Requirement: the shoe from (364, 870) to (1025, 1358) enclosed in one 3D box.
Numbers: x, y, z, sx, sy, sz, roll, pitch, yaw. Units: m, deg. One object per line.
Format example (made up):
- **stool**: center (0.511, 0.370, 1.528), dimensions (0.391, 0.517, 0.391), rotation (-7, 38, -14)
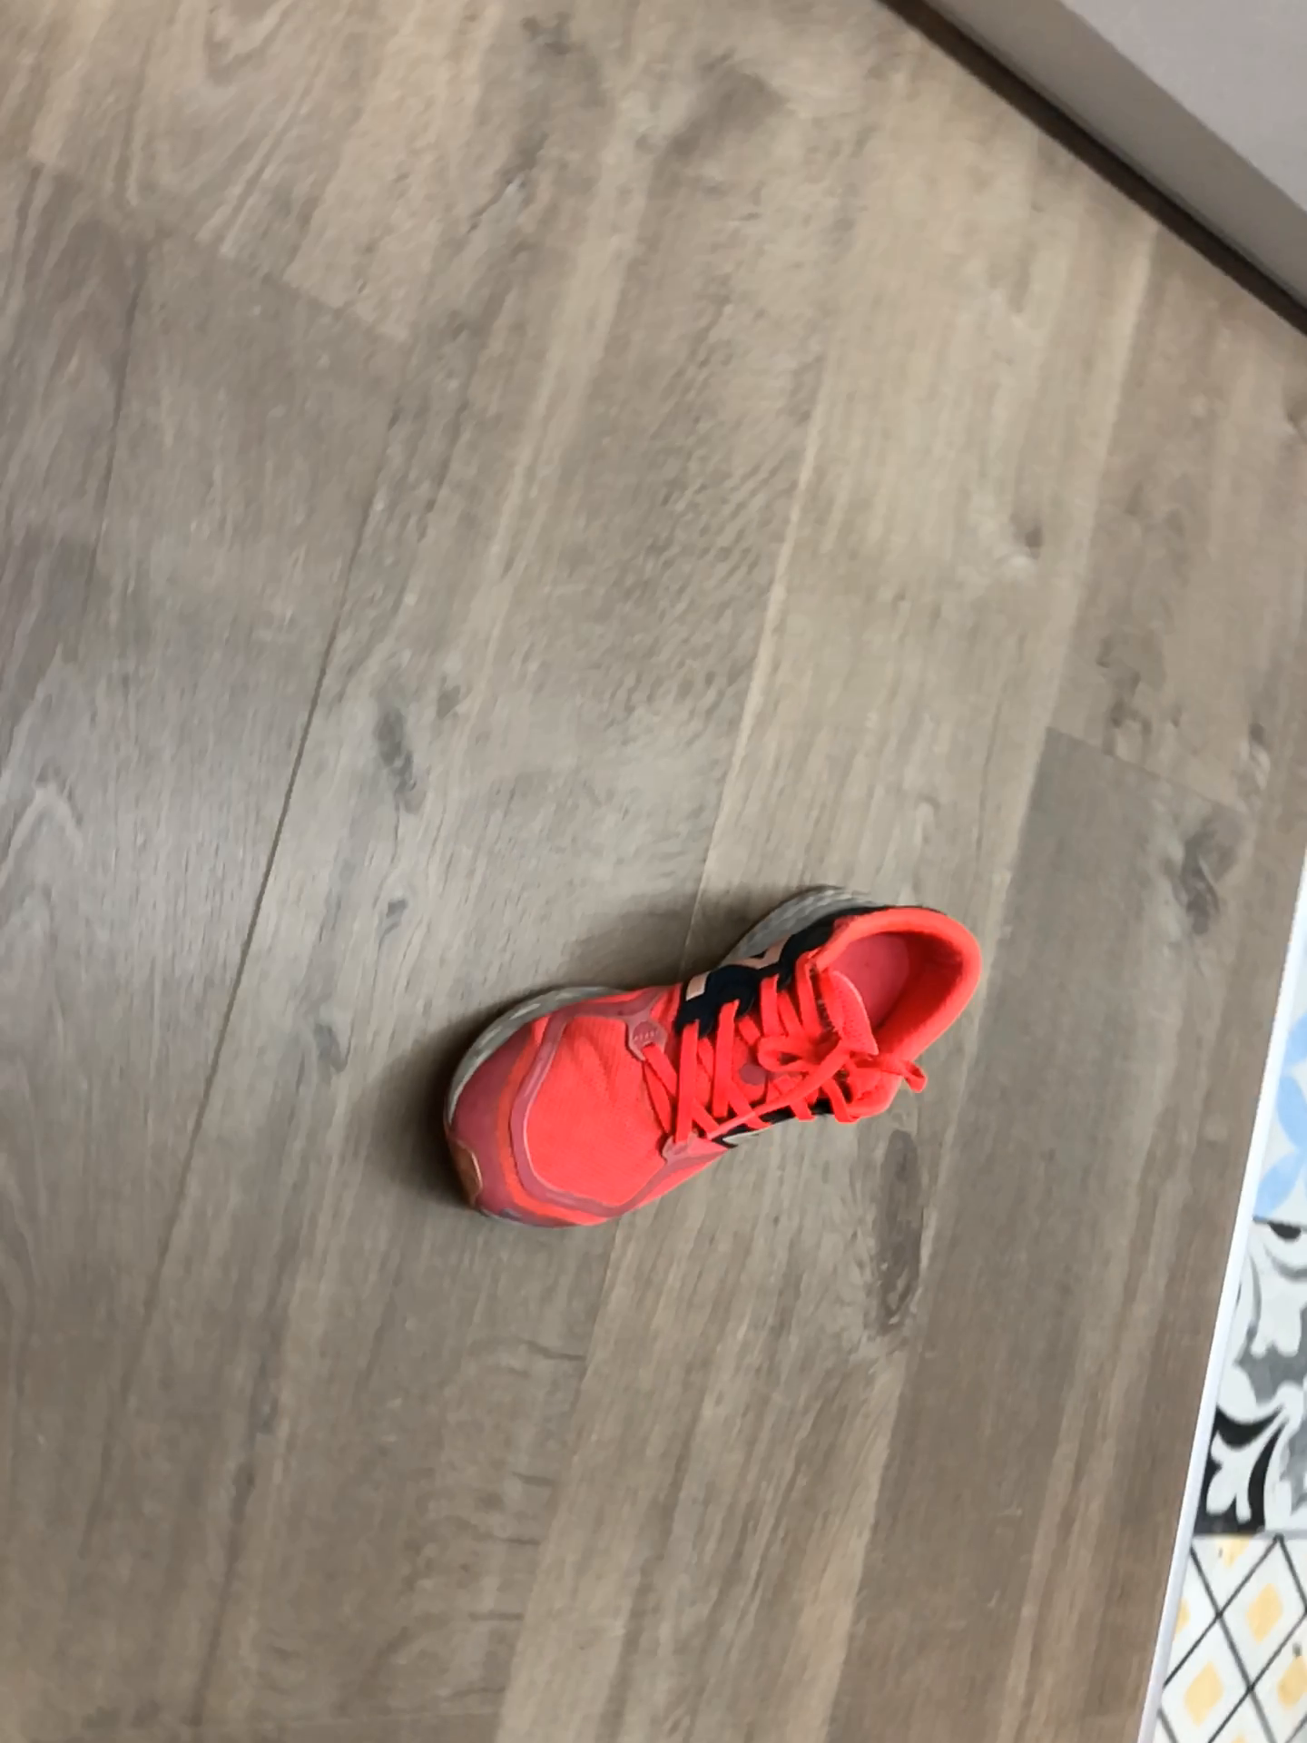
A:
- **shoe**: center (0.023, 0.085, 0.599), dimensions (0.241, 0.110, 0.100), rotation (-20, 103, -30)
